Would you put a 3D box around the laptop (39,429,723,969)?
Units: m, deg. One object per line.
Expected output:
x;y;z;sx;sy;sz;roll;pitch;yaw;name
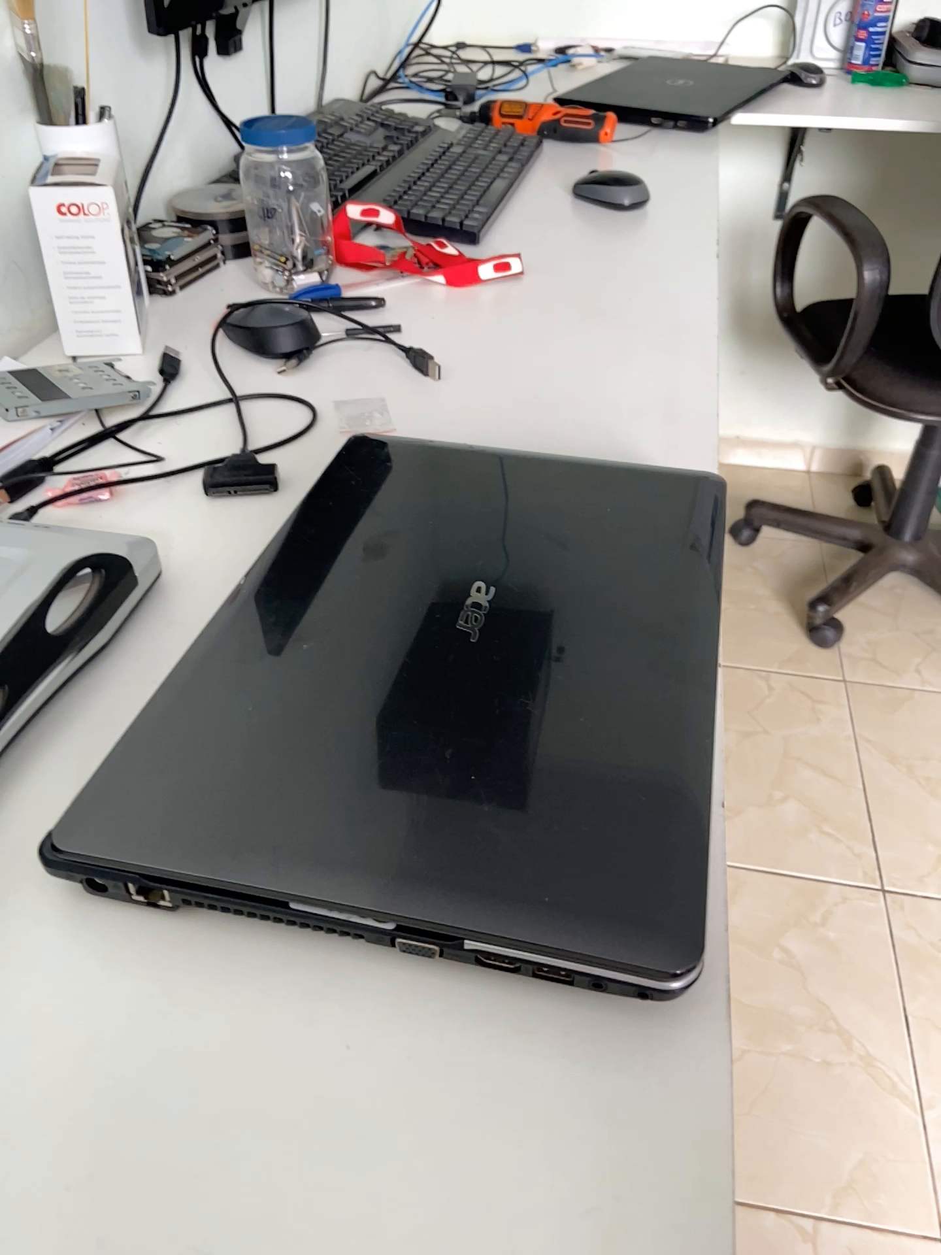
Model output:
-0.003;-0.008;0.453;0.230;0.005;0.337;7;38;11;laptop

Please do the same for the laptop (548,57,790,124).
0.285;-0.747;1.328;0.238;0.001;0.437;18;41;23;laptop
